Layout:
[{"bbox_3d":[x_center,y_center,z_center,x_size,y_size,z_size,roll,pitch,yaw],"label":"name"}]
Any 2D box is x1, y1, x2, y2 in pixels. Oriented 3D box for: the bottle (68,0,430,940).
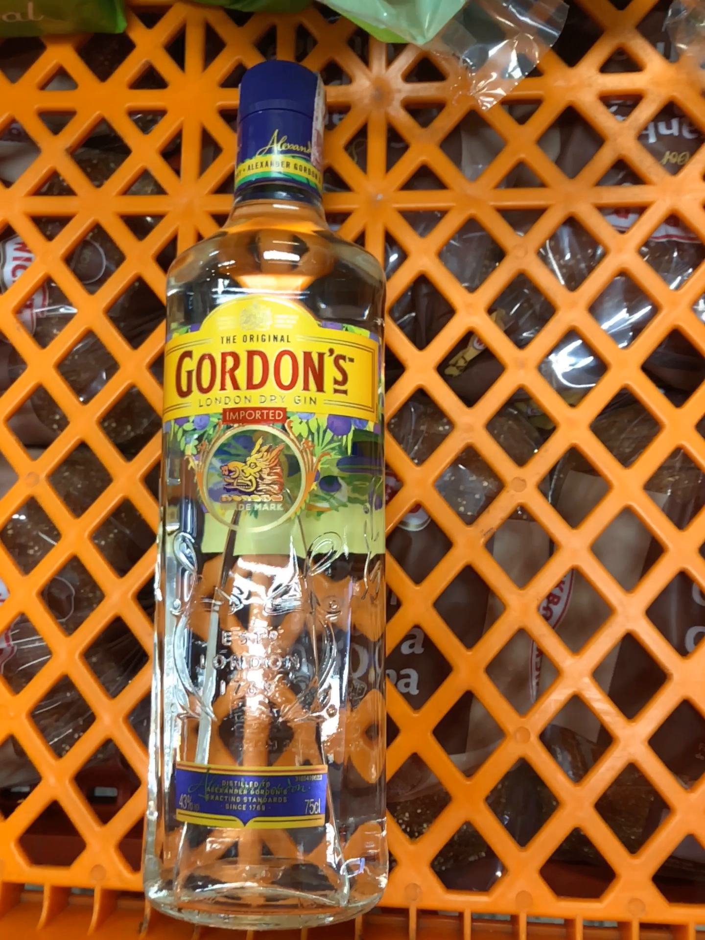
[{"bbox_3d":[-0.026,-0.014,0.280,0.100,0.100,0.310,0,85,2],"label":"bottle"}]
